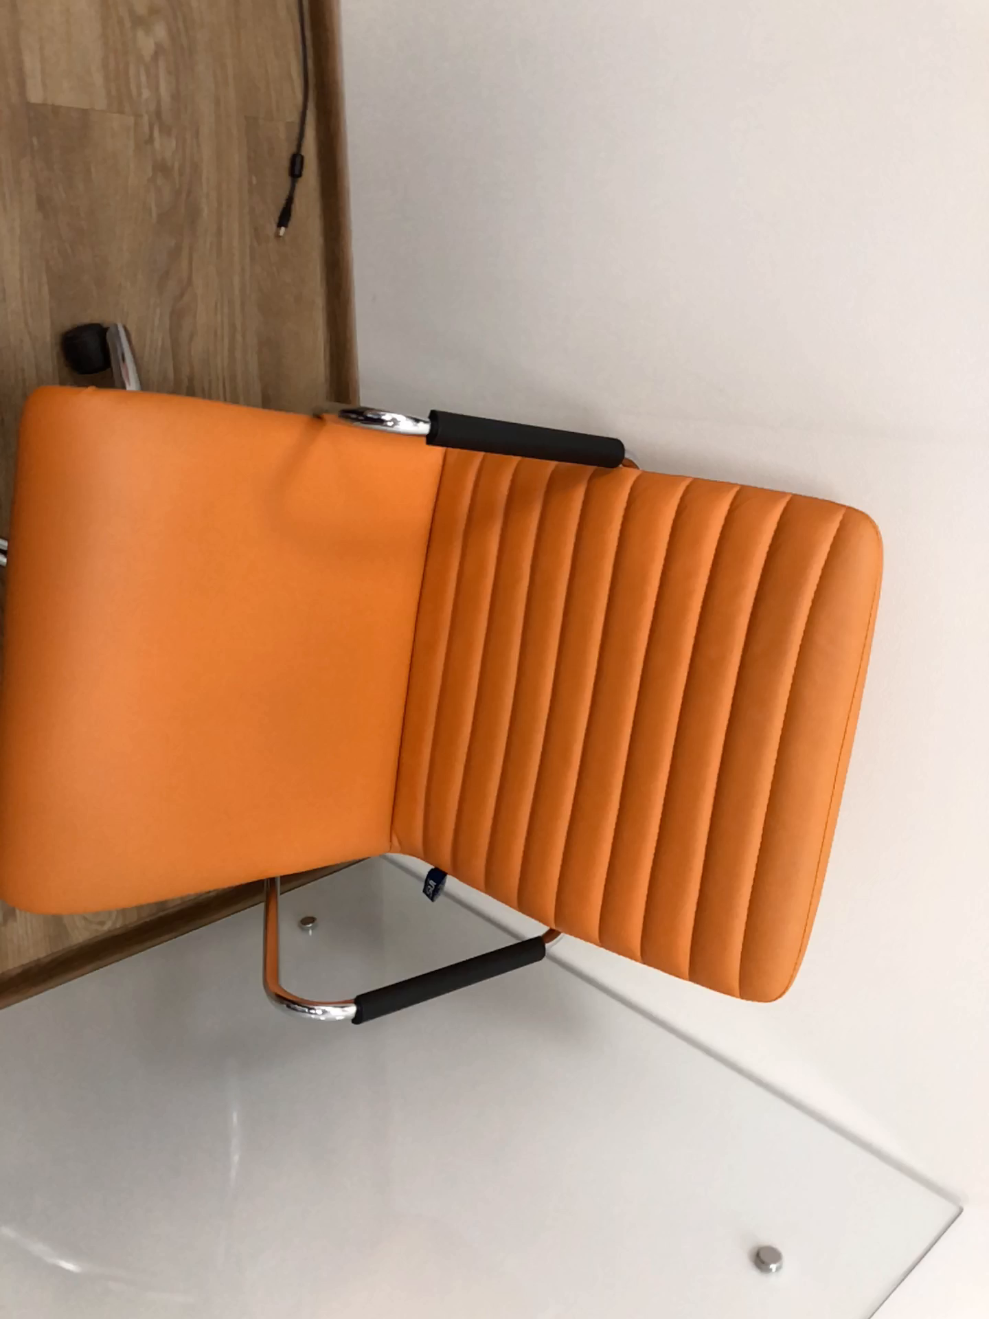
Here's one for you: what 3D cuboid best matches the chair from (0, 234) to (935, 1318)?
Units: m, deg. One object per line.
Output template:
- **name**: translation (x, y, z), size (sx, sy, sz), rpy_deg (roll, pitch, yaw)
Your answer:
- **chair**: translation (-0.209, -0.016, 1.050), size (0.664, 0.895, 0.620), rpy_deg (-9, 110, -42)
